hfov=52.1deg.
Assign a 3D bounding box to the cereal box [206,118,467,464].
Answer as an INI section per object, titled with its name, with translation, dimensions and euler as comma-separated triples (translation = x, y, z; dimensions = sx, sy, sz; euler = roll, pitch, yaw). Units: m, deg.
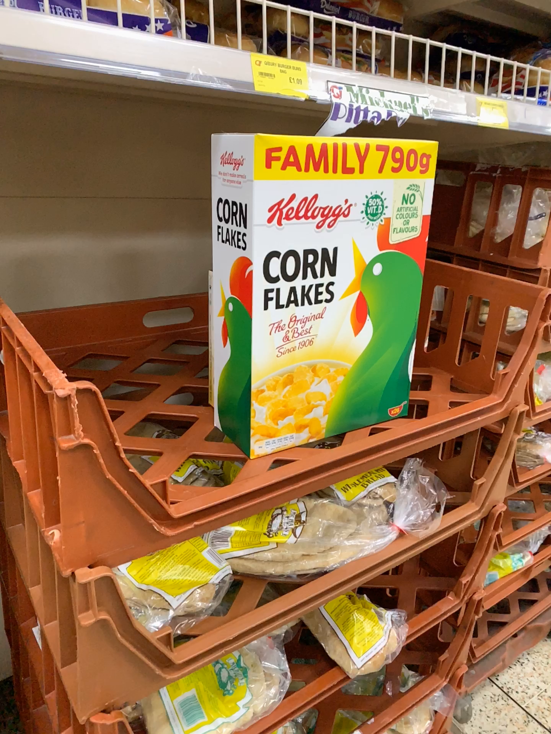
[cereal box]
translation = 0.065, -0.091, 0.647
dimensions = 0.271, 0.337, 0.090
euler = -10, 25, -32
